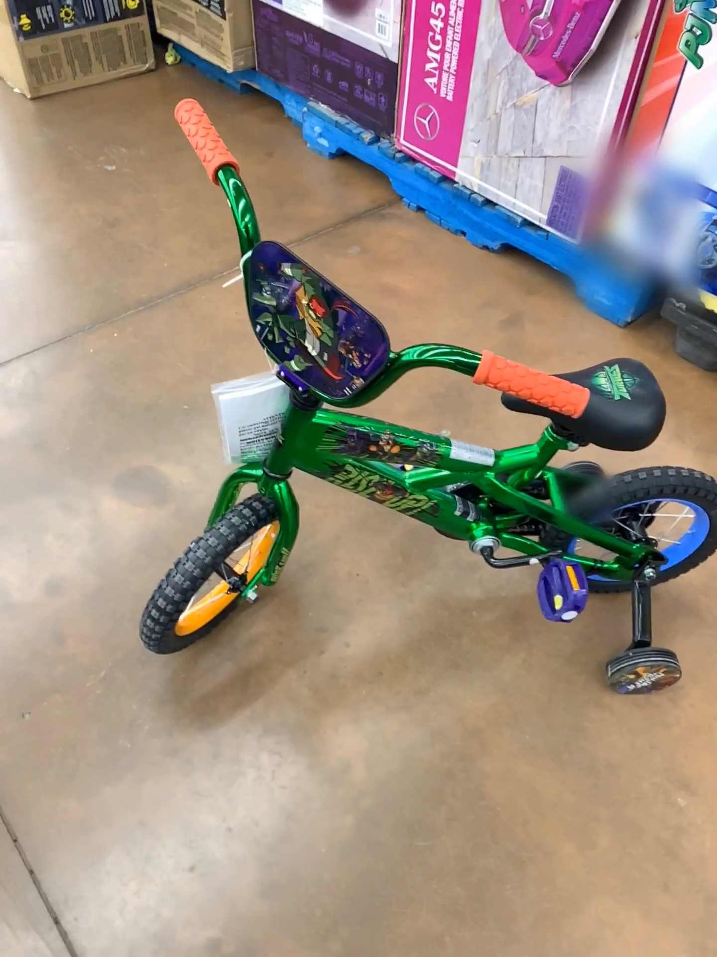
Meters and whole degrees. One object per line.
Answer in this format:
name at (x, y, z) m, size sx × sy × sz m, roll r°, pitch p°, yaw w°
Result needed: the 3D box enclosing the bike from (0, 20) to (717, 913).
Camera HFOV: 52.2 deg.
bike at (0.173, 0.004, 0.828) m, size 0.851 × 0.732 × 0.491 m, roll -8°, pitch 49°, yaw -14°
